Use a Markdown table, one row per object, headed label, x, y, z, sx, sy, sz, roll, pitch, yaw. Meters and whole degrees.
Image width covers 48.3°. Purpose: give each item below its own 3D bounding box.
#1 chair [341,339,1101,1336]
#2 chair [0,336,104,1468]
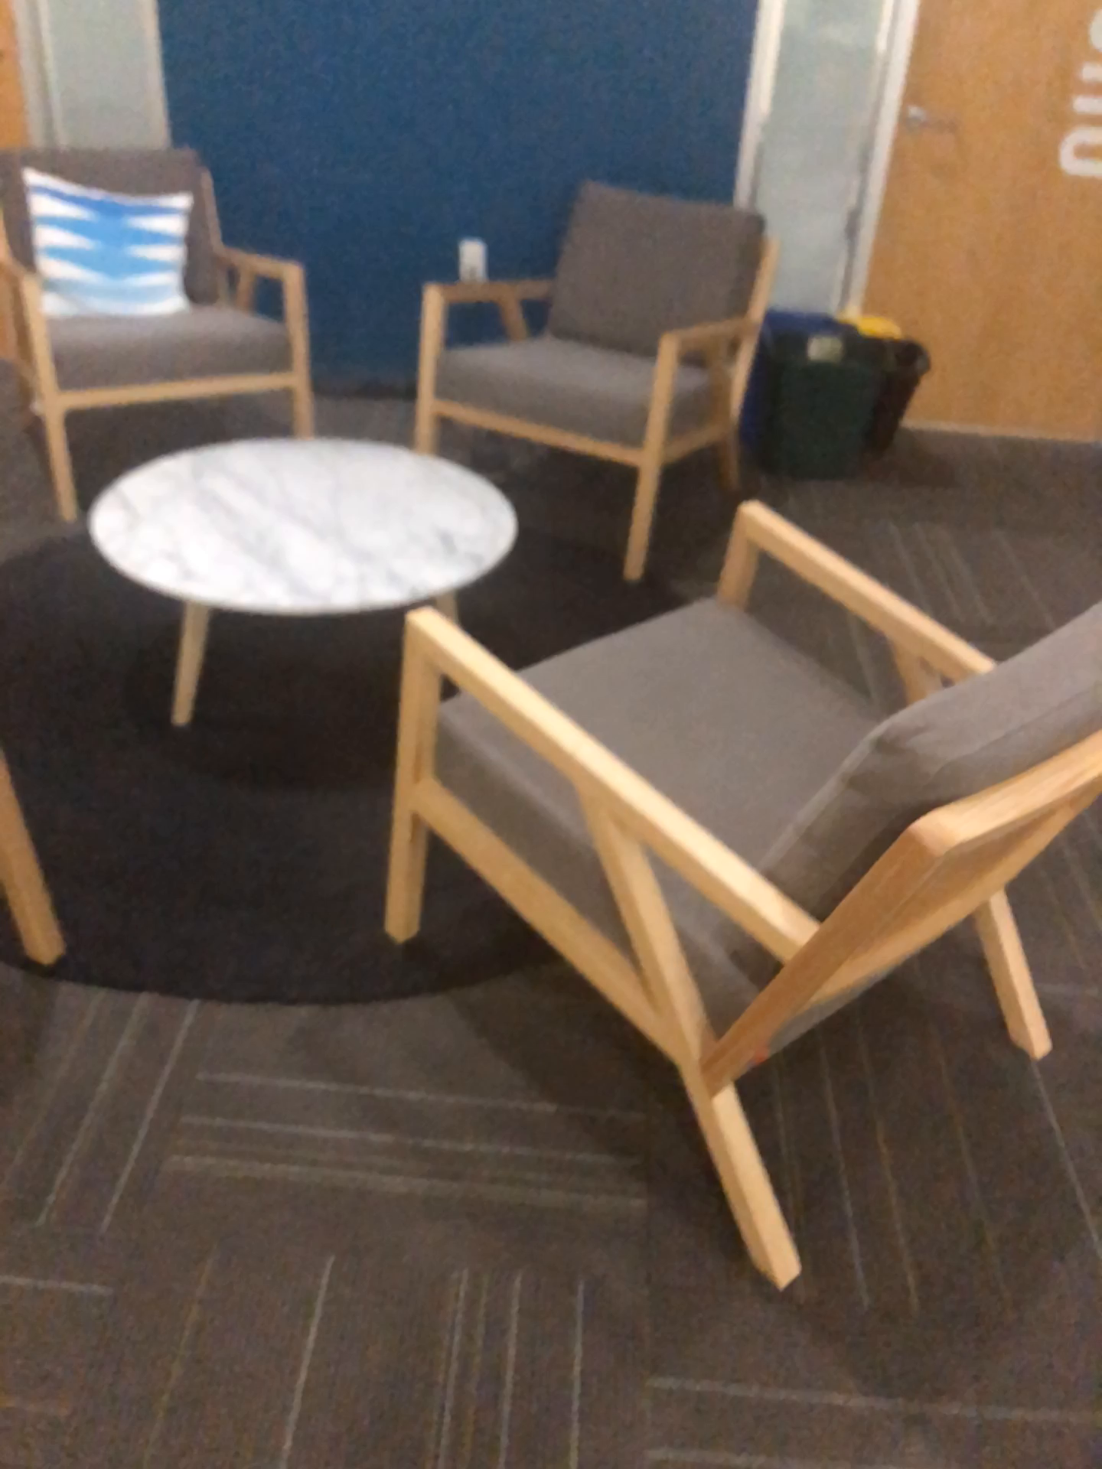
| label | x | y | z | sx | sy | sz | roll | pitch | yaw |
| --- | --- | --- | --- | --- | --- | --- | --- | --- | --- |
| chair | 0.274 | 0.044 | 1.635 | 0.724 | 0.753 | 0.873 | -23 | 47 | -35 |
| chair | -1.135 | 0.112 | 1.389 | 0.720 | 0.773 | 0.807 | 16 | 38 | 18 |
